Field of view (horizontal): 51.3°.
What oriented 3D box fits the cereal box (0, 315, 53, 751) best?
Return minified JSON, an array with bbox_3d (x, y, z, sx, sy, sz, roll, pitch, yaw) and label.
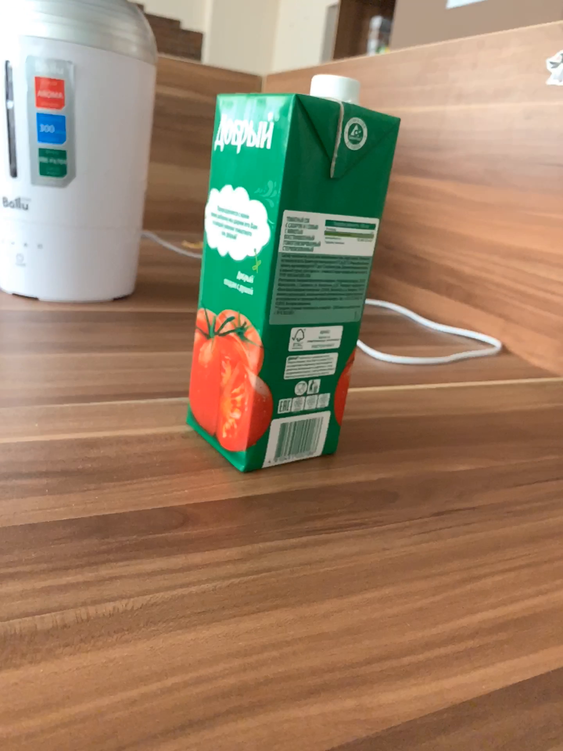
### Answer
[{"bbox_3d":[-0.576,0.489,0.309,0.590,0.837,0.612,16,21,22],"label":"cereal box"}]
